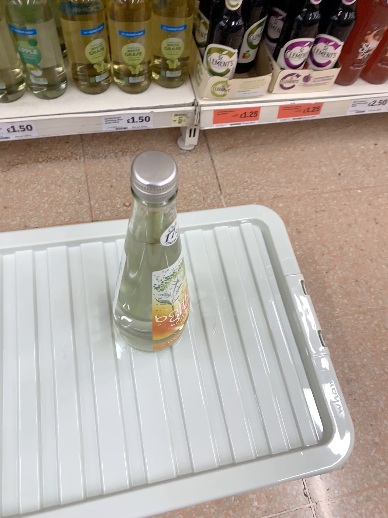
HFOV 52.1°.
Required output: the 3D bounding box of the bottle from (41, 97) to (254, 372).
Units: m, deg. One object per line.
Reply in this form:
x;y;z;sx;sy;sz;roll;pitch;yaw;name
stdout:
-0.039;0.013;0.363;0.090;0.289;0.090;3;64;-5;bottle
